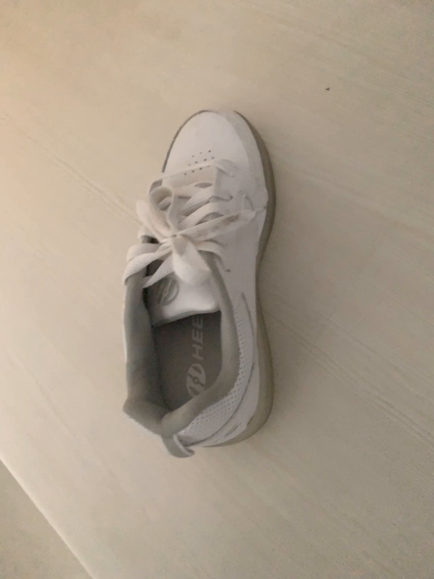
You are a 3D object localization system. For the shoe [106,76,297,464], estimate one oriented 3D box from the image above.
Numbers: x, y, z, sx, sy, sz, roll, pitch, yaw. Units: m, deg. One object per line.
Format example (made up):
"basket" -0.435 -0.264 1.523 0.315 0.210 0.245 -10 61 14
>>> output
"shoe" -0.005 -0.009 0.310 0.090 0.090 0.230 -6 74 22
